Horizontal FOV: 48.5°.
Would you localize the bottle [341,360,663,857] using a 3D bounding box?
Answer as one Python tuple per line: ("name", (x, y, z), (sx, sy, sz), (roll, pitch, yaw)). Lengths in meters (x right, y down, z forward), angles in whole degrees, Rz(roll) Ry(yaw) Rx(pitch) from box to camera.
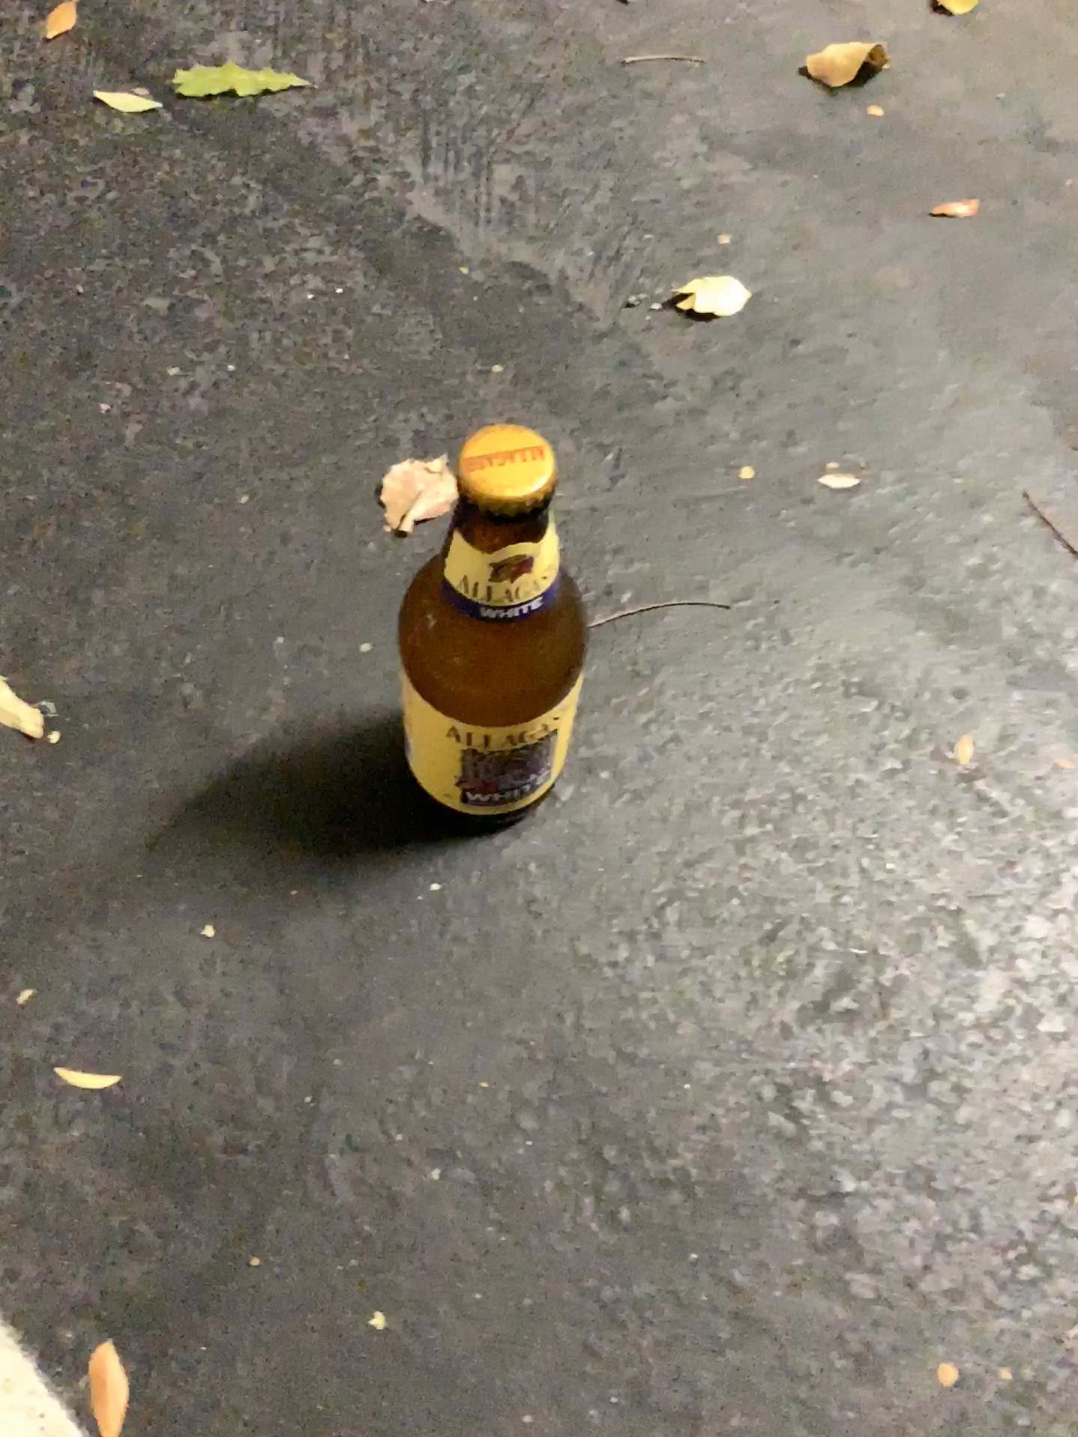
("bottle", (-0.018, -0.024, 0.410), (0.070, 0.190, 0.070), (2, 65, -4))
